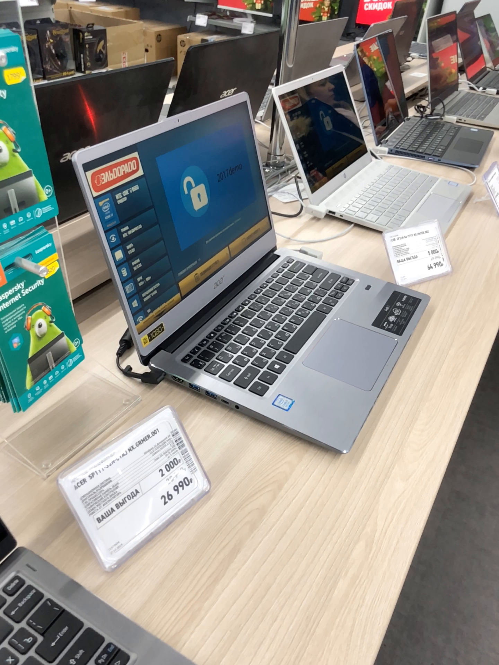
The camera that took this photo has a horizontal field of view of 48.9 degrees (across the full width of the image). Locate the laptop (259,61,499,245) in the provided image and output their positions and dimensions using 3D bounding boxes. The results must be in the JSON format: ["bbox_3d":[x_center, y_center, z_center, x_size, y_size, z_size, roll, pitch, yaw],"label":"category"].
[{"bbox_3d":[0.236,-0.343,0.988,0.322,0.164,0.306,23,40,19],"label":"laptop"}]

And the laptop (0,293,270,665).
[{"bbox_3d":[-0.196,0.171,0.230,0.311,0.159,0.280,25,40,20],"label":"laptop"}]

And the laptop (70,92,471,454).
[{"bbox_3d":[0.039,-0.102,0.611,0.302,0.197,0.316,22,39,19],"label":"laptop"}]
